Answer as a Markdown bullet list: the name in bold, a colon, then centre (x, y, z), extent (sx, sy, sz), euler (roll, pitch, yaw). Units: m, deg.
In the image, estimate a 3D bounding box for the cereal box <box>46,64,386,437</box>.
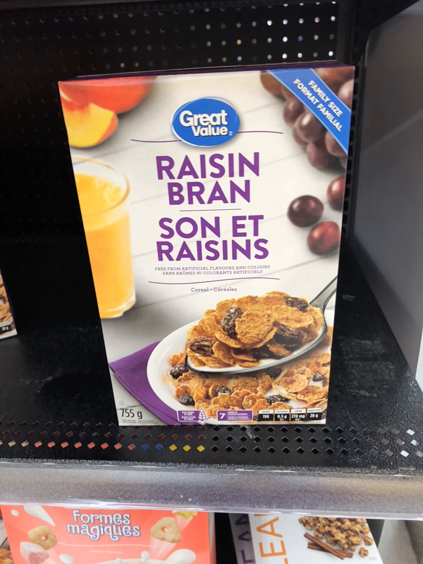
- **cereal box**: centre (0.008, -0.011, 0.390), extent (0.210, 0.299, 0.070), euler (-1, 27, 2)
